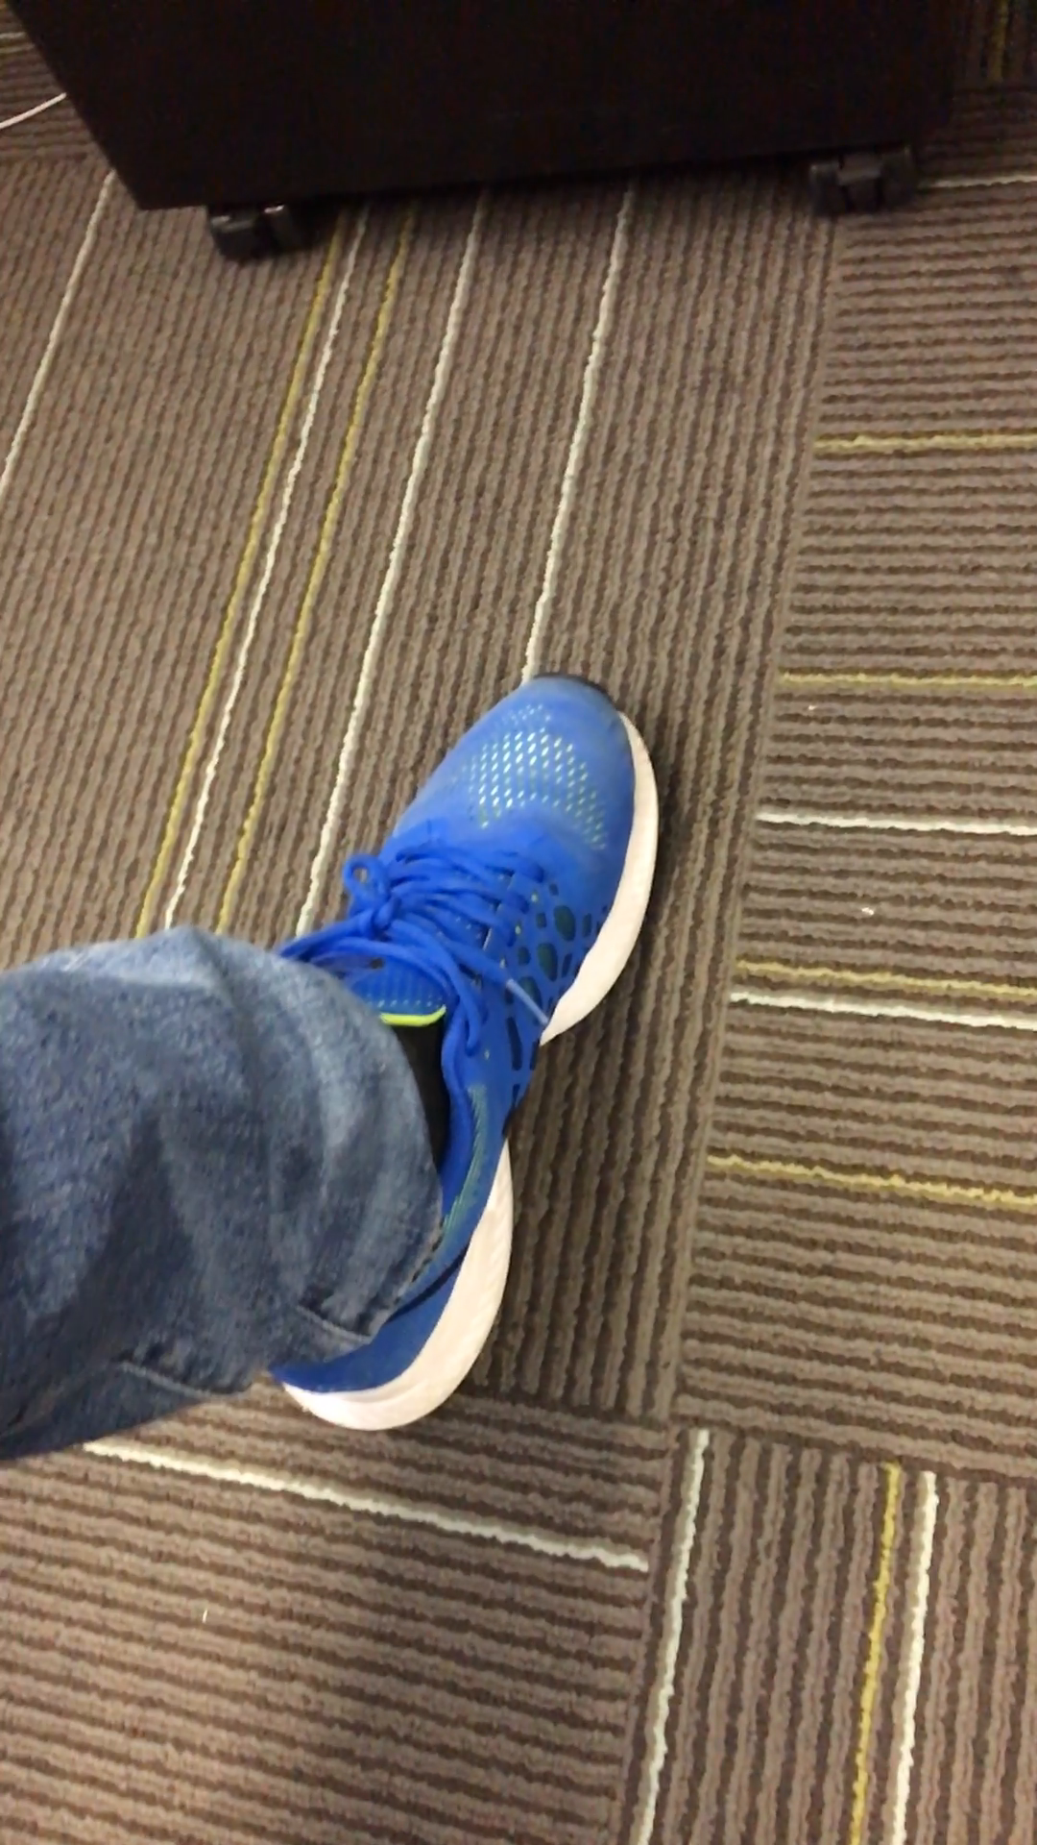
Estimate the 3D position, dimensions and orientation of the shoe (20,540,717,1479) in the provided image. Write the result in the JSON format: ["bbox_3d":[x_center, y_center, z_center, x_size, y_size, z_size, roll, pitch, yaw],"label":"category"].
[{"bbox_3d":[-0.036,0.024,0.542,0.120,0.110,0.290,12,69,21],"label":"shoe"}]
